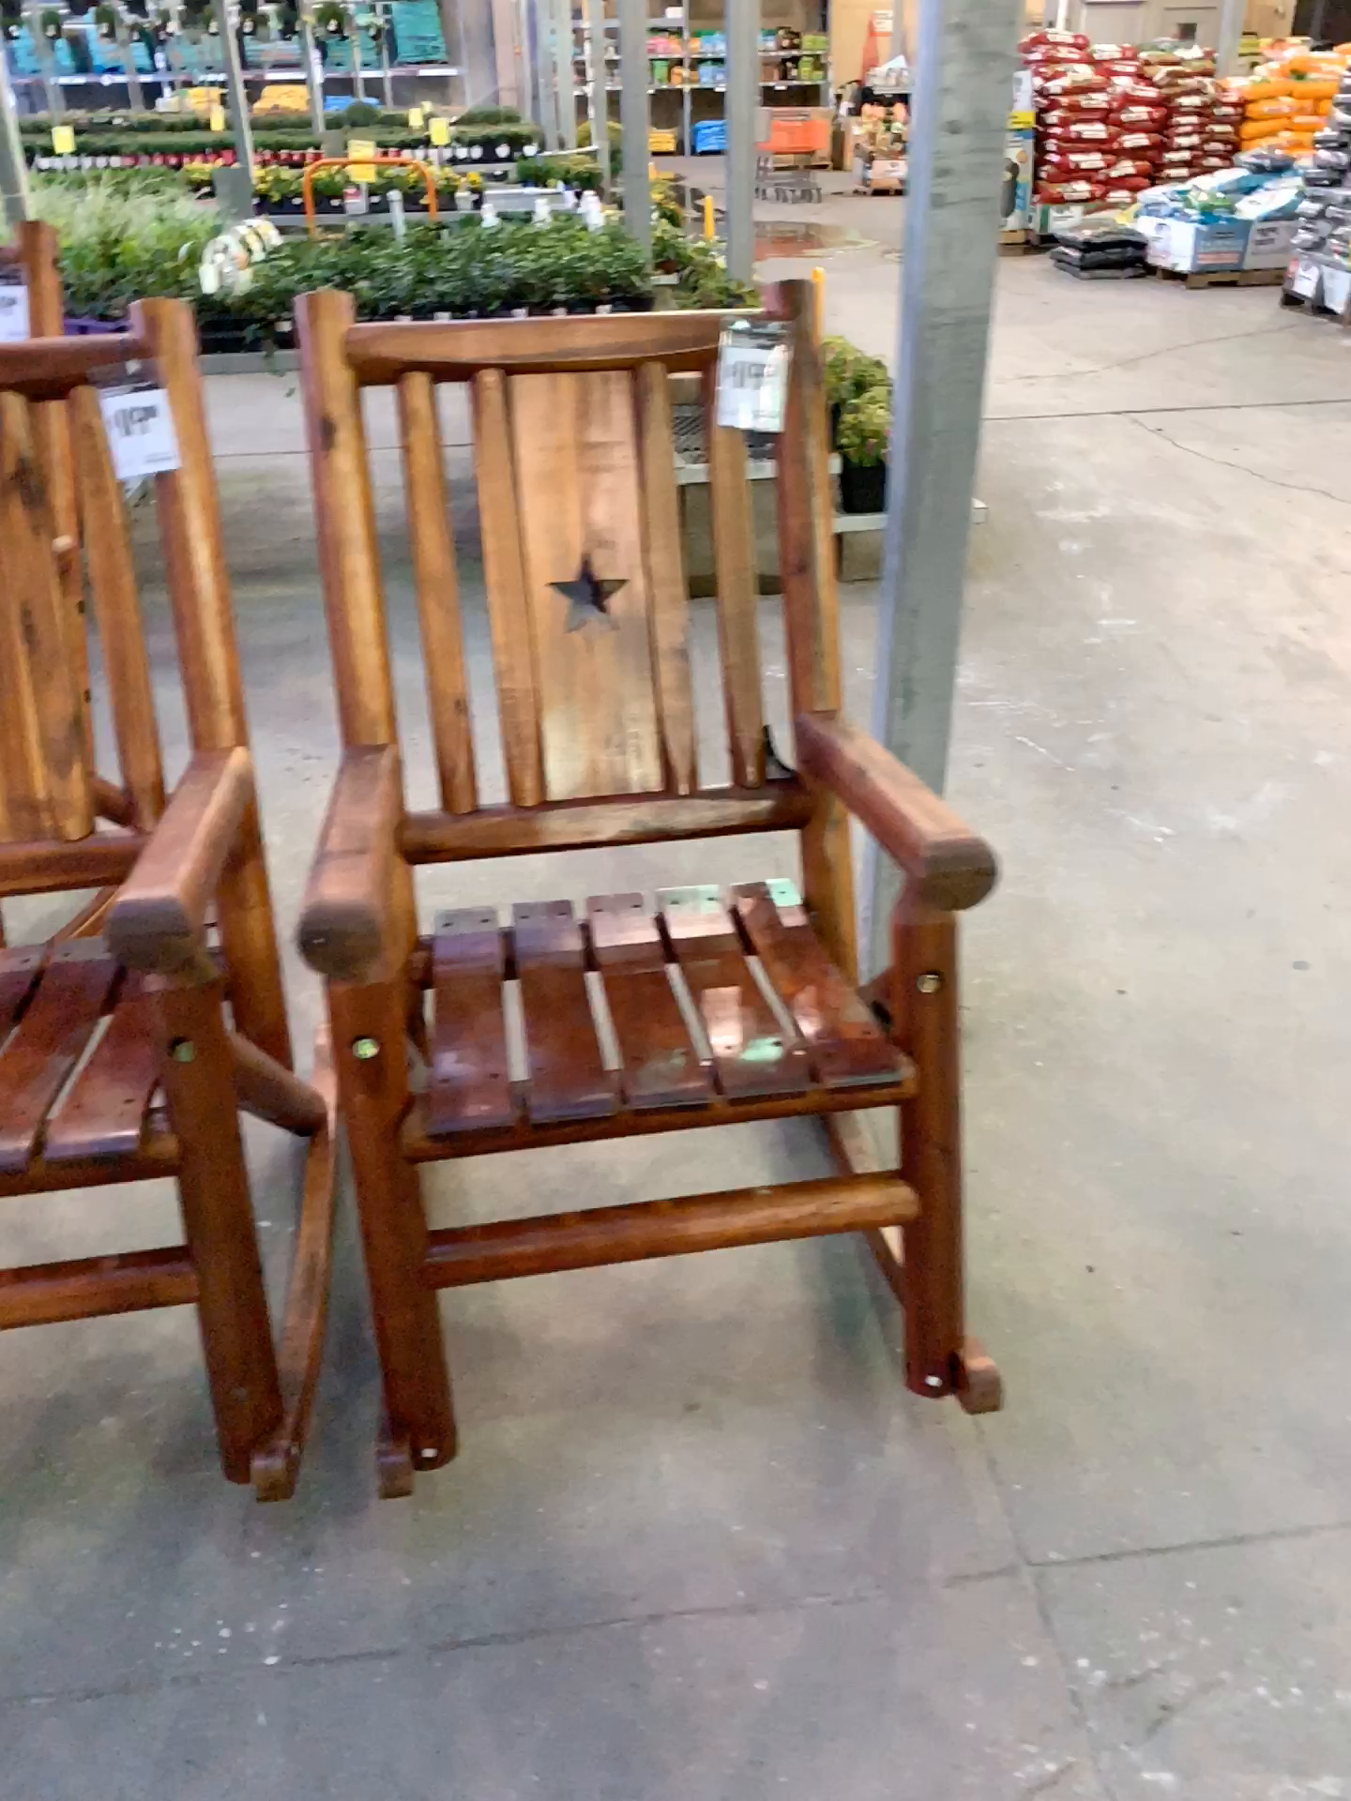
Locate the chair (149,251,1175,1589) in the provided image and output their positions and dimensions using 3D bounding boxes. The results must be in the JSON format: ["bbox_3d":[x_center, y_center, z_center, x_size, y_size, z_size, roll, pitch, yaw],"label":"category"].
[{"bbox_3d":[-0.067,-0.064,1.617,0.672,1.157,1.024,-5,31,-7],"label":"chair"}]

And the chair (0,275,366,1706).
[{"bbox_3d":[-0.781,0.008,1.527,0.672,1.157,1.024,-5,31,-7],"label":"chair"}]
